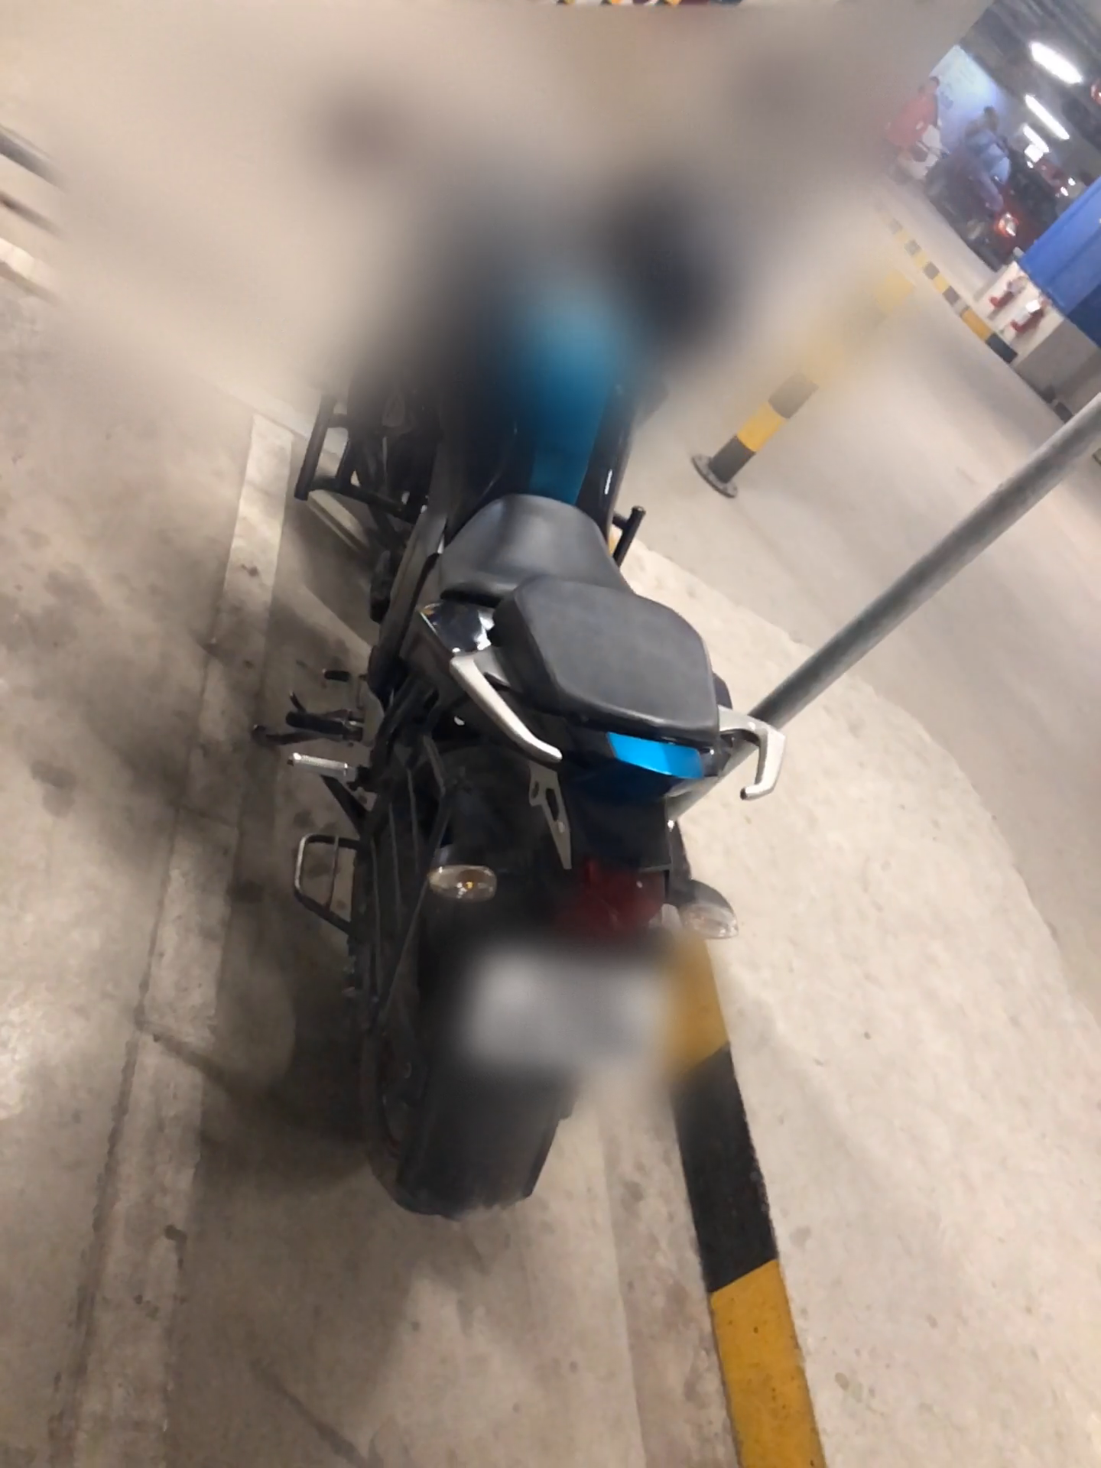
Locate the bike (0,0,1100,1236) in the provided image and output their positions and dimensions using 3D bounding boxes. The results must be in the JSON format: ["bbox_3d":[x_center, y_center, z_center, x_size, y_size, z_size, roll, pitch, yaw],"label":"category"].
[{"bbox_3d":[-0.152,-0.295,1.617,0.767,0.951,1.420,23,37,-32],"label":"bike"}]
